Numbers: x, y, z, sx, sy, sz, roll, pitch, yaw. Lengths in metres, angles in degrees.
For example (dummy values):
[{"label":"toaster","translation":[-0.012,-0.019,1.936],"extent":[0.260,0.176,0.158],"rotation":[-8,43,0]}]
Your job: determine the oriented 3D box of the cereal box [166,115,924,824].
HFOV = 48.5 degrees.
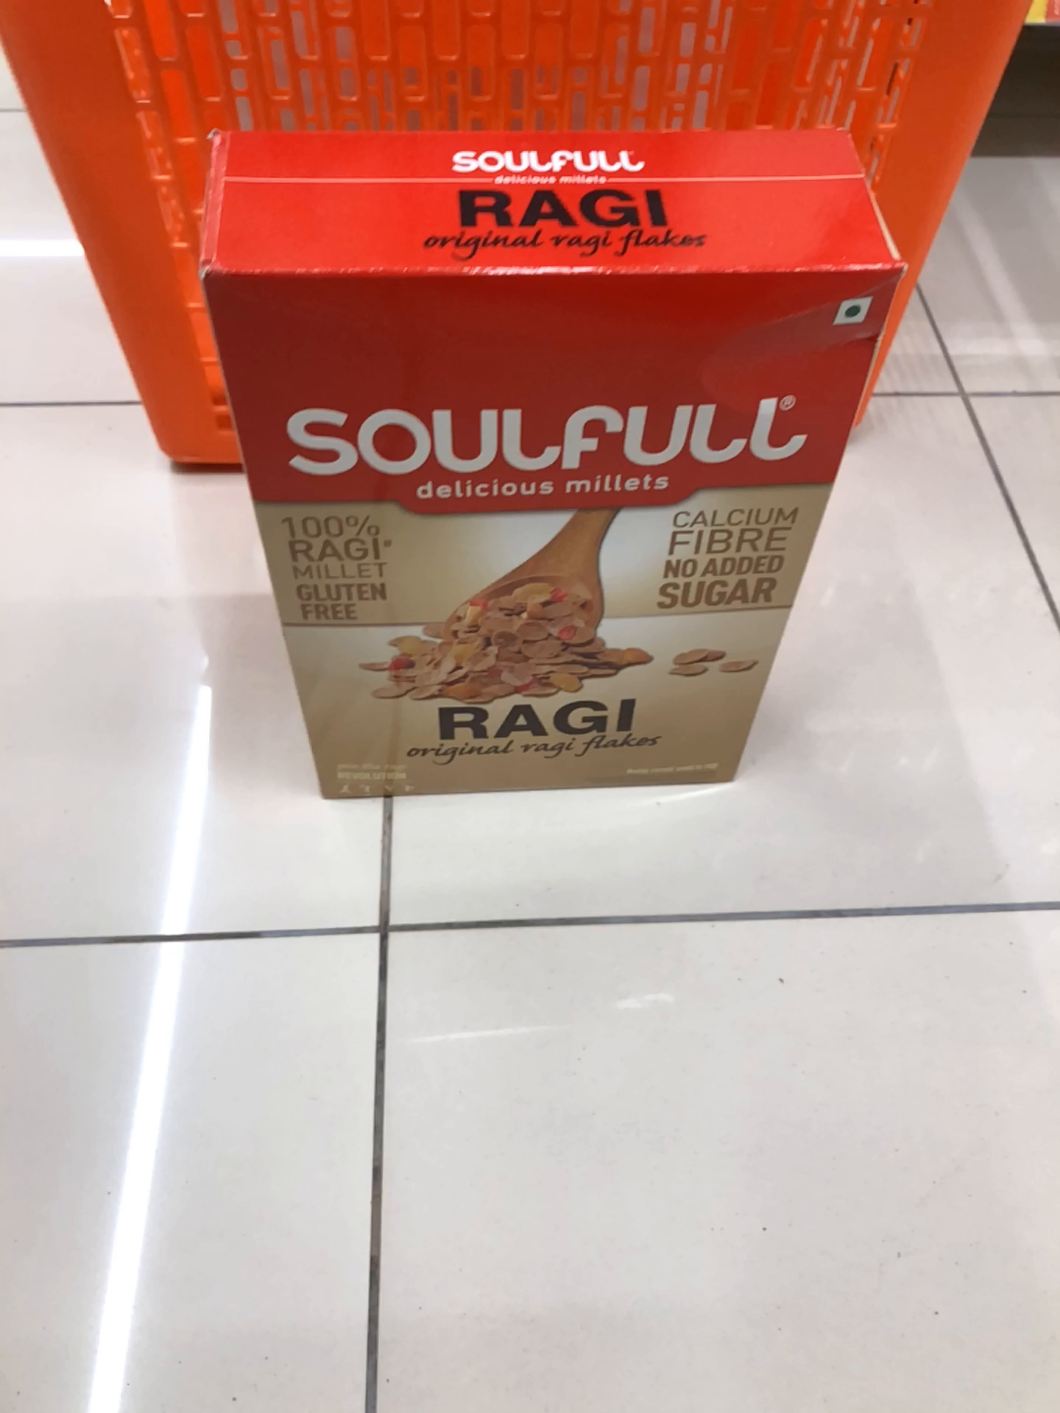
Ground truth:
[{"label":"cereal box","translation":[-0.001,-0.055,0.376],"extent":[0.170,0.238,0.060],"rotation":[-2,53,-4]}]
